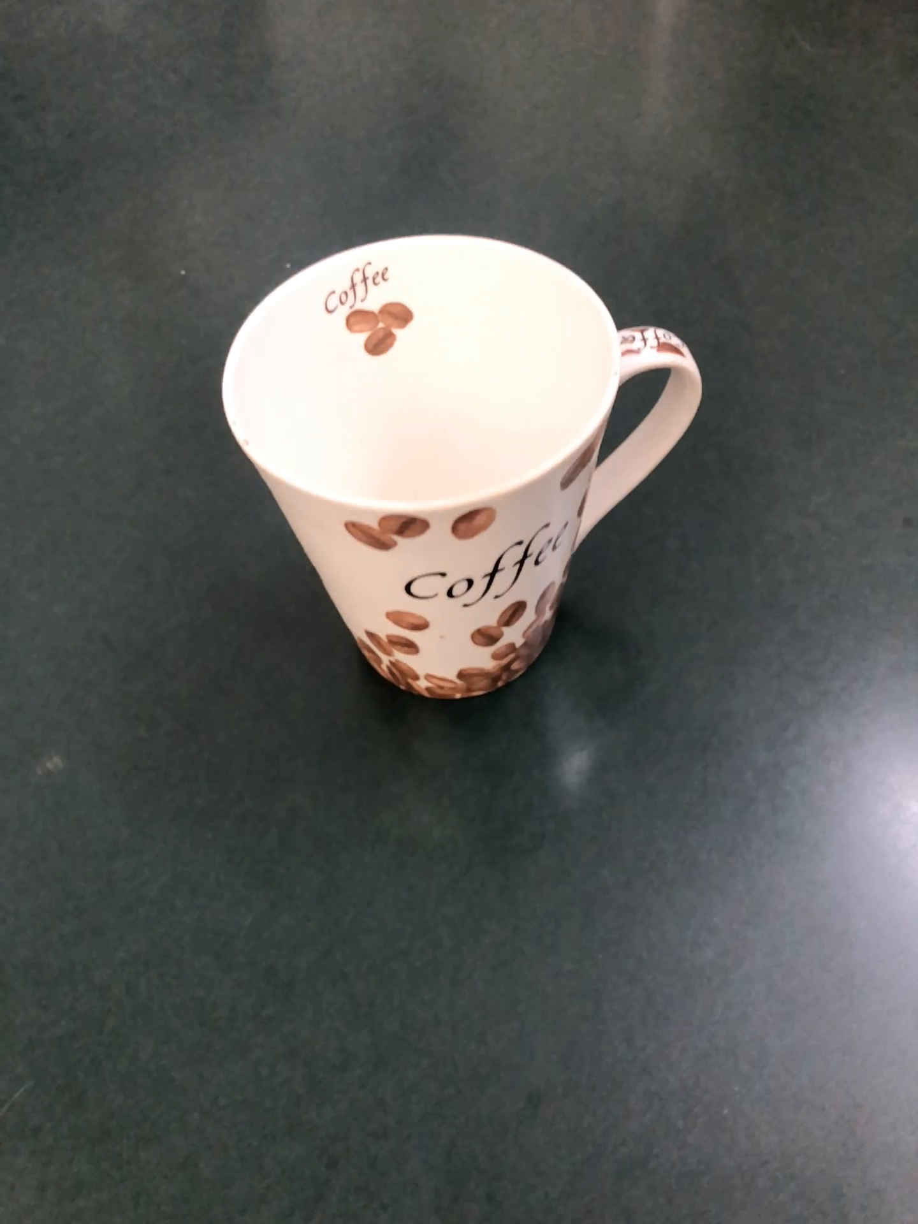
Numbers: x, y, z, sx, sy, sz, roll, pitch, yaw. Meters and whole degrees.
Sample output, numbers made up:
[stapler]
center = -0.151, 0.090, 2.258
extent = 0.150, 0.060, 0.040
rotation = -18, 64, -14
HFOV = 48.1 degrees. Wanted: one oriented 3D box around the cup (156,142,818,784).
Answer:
[cup]
center = 0.003, -0.038, 0.263
extent = 0.120, 0.090, 0.100
rotation = -17, 55, -6
